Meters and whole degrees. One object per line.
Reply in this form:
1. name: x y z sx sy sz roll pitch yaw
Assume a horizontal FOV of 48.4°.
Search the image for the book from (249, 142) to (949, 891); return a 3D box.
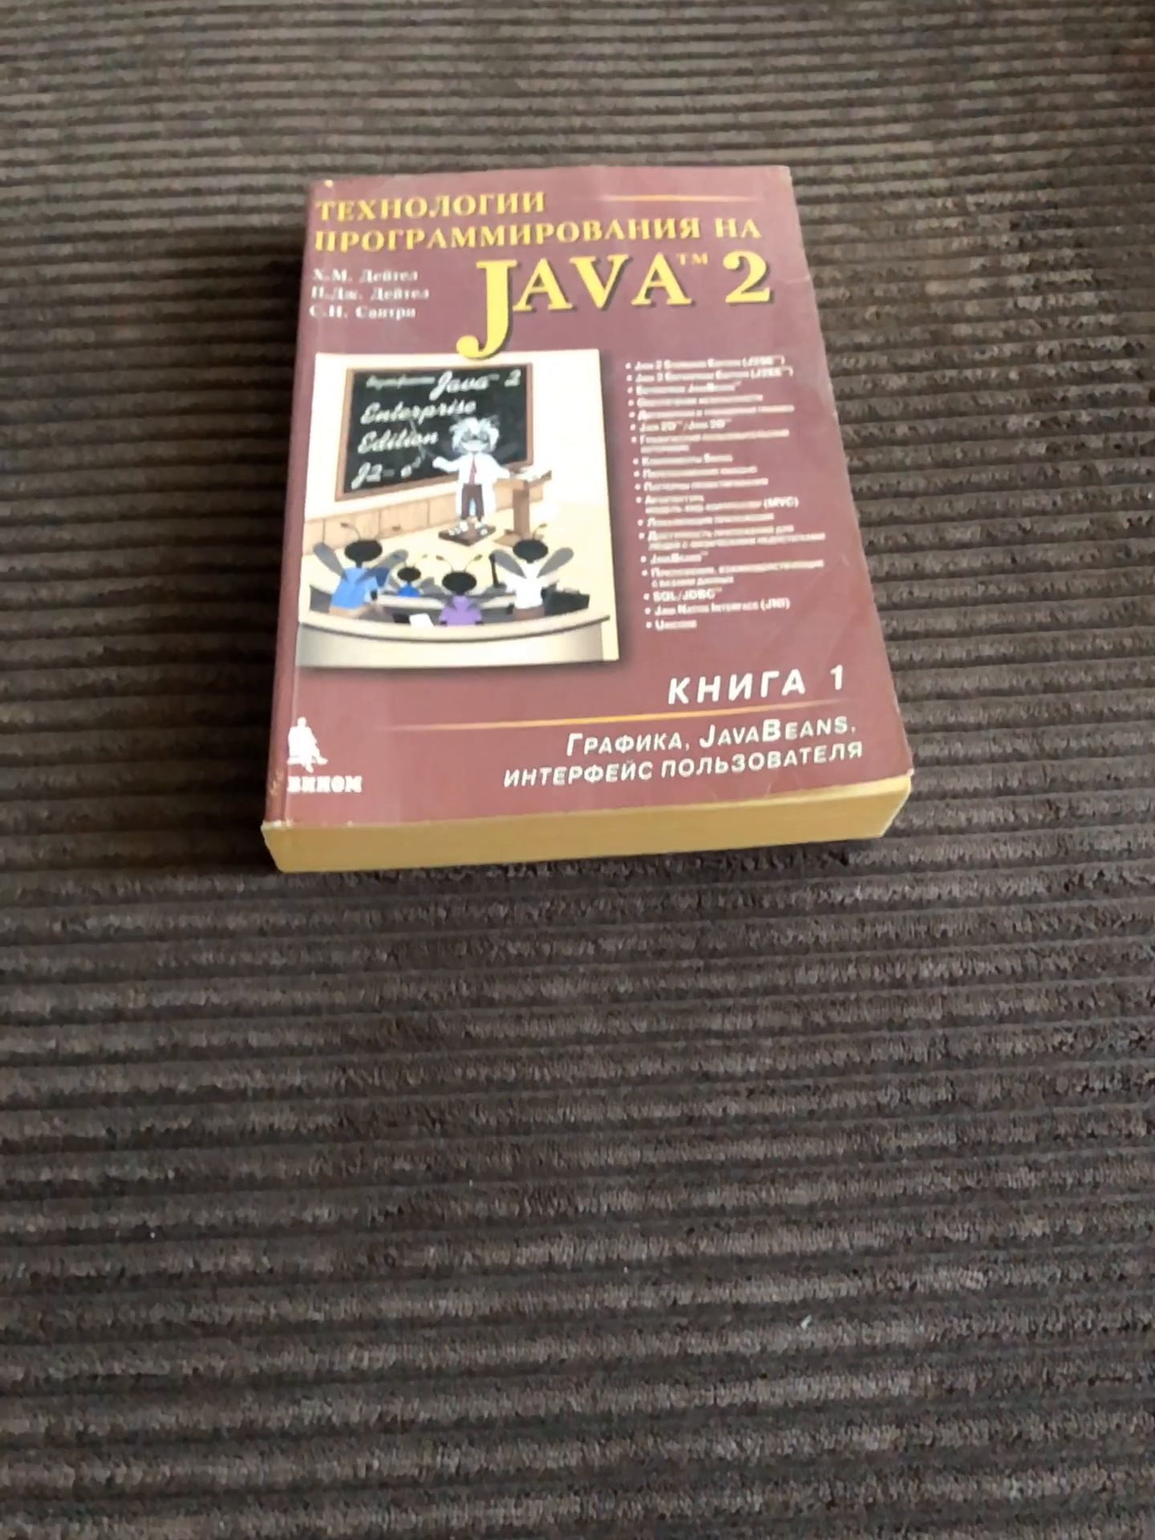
1. book: -0.002 -0.088 0.384 0.165 0.050 0.241 -3 60 -3
